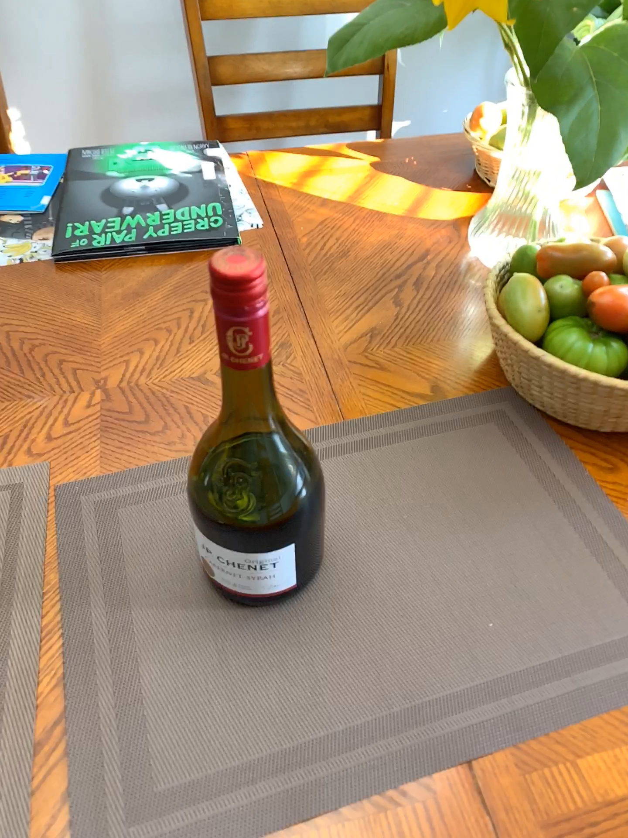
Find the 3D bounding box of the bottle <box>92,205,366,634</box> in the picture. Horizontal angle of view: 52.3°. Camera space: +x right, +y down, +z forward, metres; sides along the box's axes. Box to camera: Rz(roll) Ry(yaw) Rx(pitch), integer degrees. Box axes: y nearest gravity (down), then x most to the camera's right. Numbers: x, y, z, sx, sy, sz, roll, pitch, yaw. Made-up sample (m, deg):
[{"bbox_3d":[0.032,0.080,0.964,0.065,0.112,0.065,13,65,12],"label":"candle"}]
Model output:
[{"bbox_3d":[-0.041,0.015,0.415,0.100,0.258,0.101,1,45,-1],"label":"bottle"}]
